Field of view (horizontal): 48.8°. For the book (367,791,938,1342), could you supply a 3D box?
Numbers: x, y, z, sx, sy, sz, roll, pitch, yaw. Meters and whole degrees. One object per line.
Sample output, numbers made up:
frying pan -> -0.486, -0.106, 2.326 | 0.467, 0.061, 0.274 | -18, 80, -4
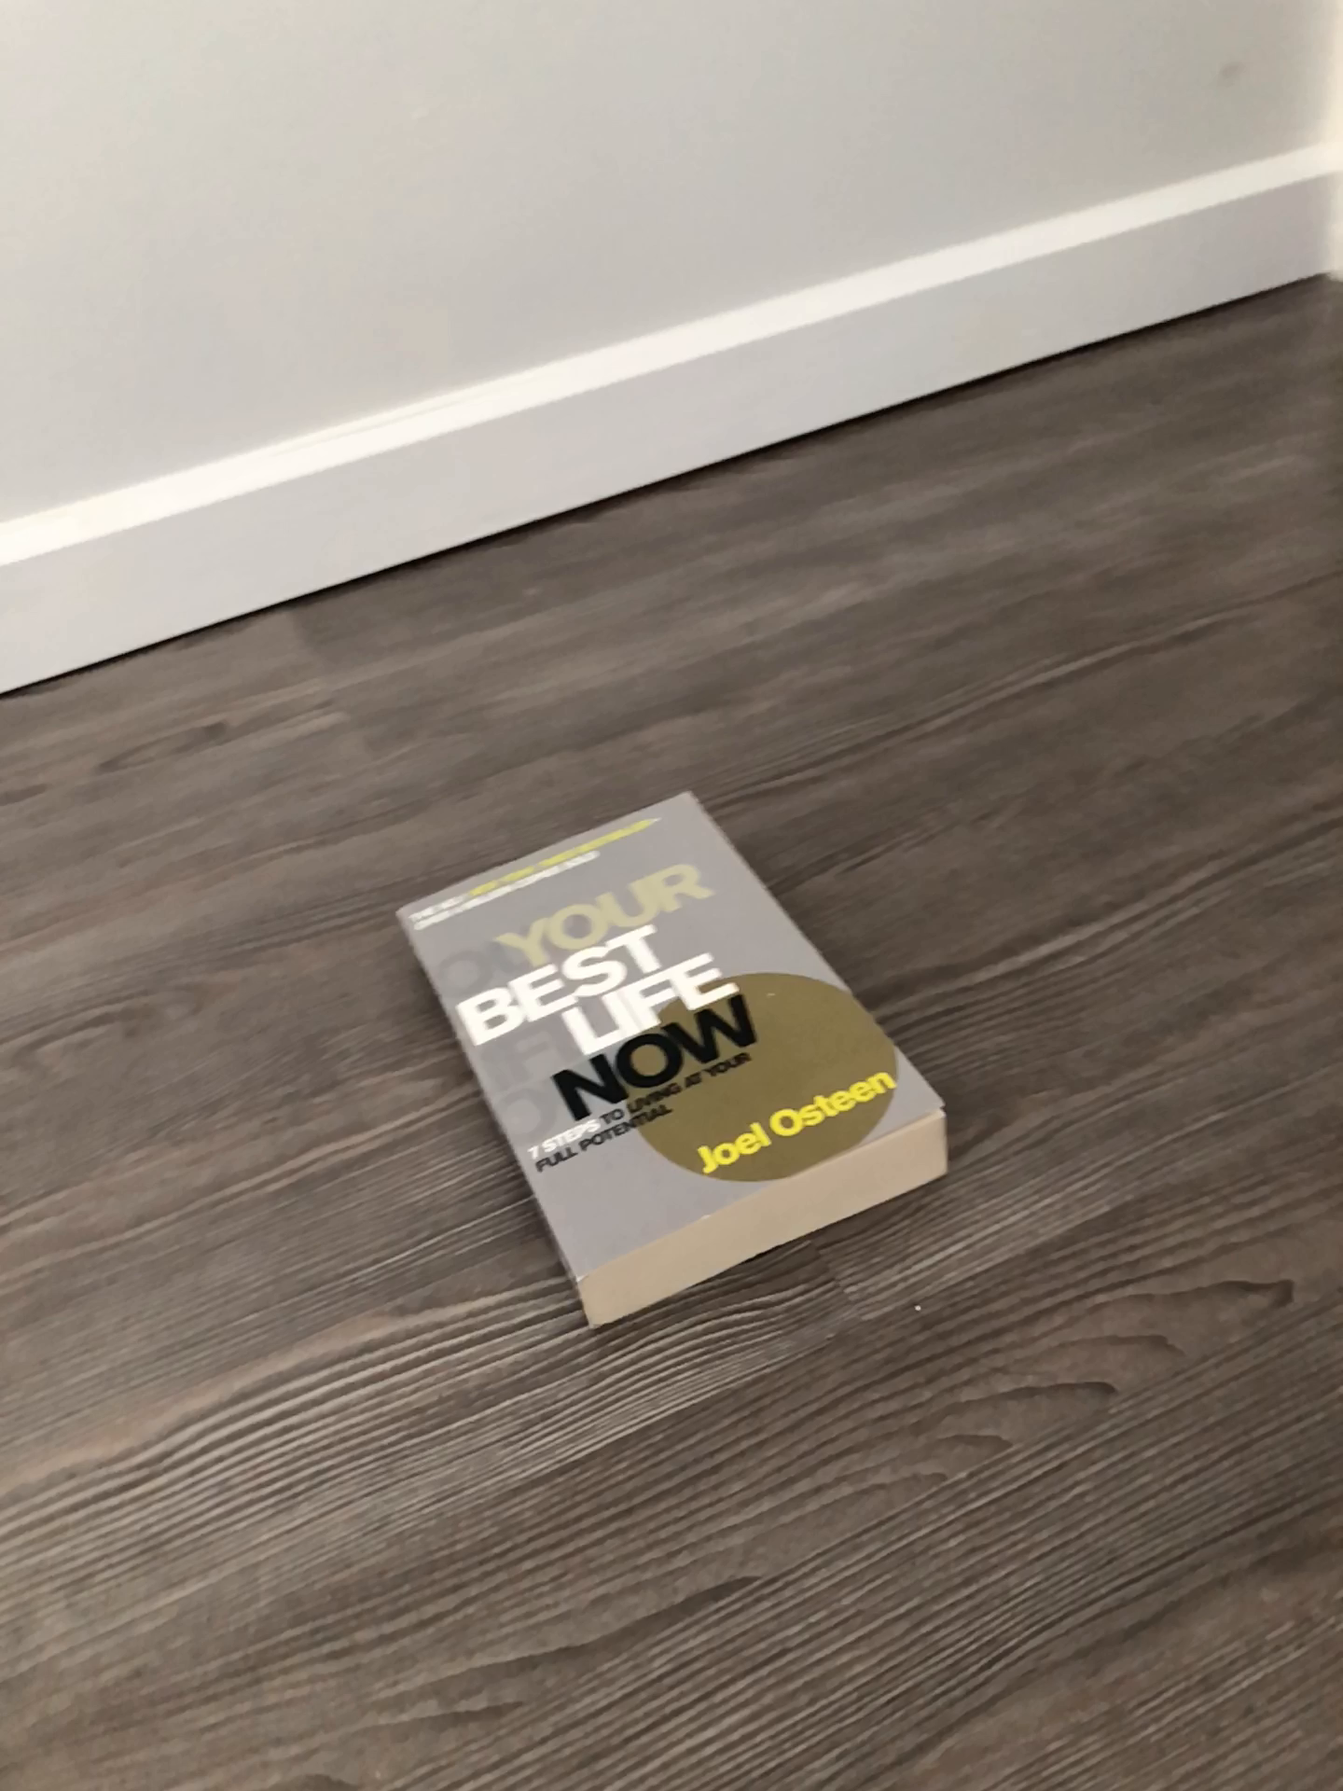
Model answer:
book -> -0.016, 0.047, 0.538 | 0.136, 0.030, 0.202 | -21, 42, -15
